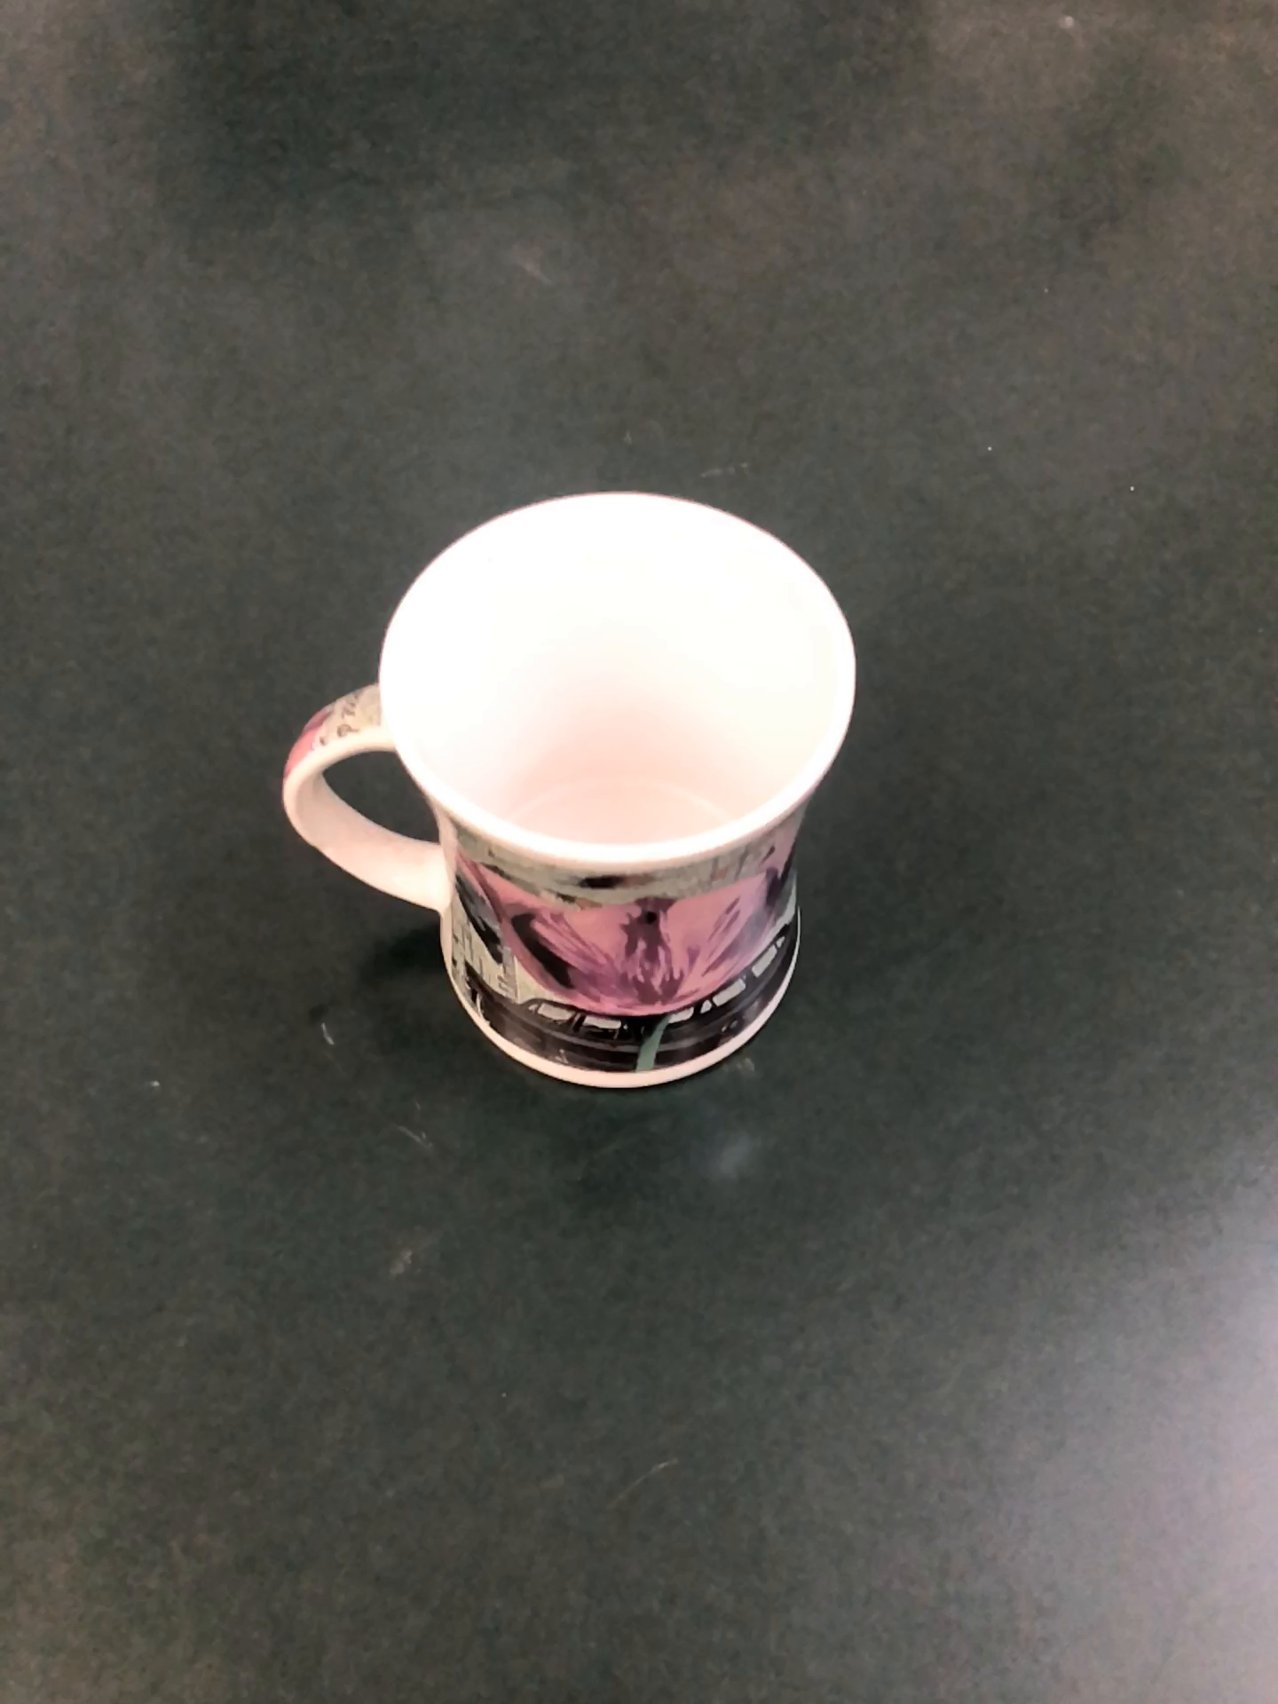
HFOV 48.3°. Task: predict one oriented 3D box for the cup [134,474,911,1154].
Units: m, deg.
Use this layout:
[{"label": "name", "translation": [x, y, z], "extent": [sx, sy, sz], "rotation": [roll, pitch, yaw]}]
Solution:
[{"label": "cup", "translation": [-0.020, -0.003, 0.291], "extent": [0.120, 0.110, 0.090], "rotation": [-1, 58, -1]}]
